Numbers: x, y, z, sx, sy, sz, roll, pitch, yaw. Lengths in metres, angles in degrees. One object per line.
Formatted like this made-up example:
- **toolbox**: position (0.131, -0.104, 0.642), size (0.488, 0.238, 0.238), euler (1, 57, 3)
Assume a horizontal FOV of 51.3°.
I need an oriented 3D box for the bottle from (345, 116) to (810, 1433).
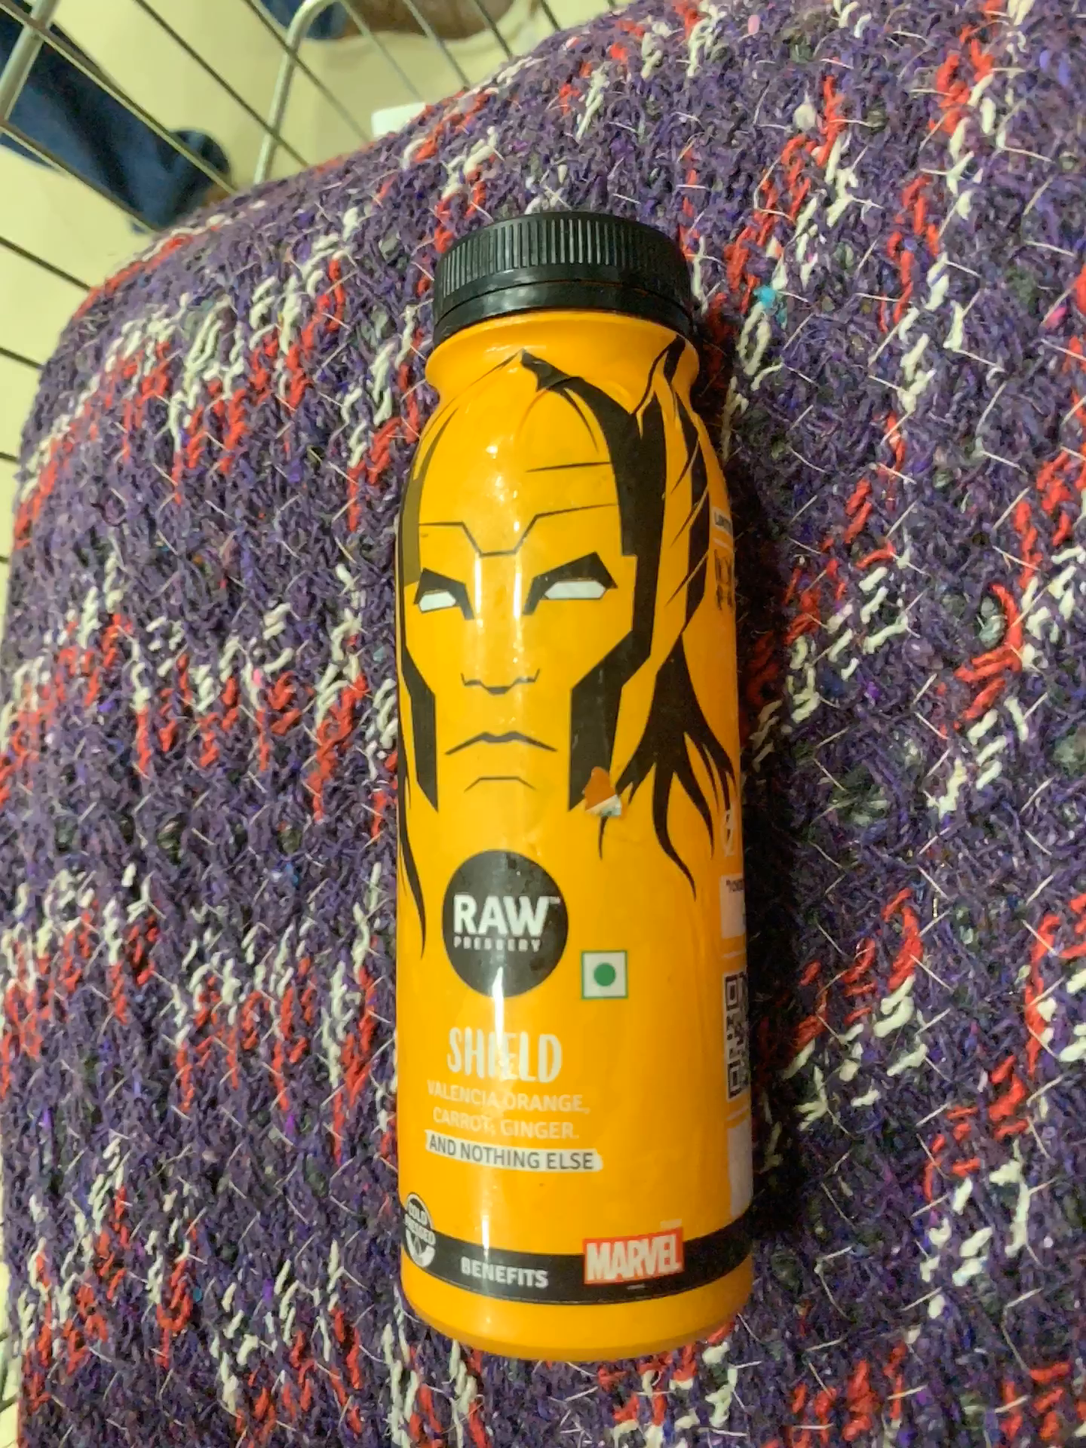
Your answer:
- **bottle**: position (0.008, 0.005, 0.171), size (0.050, 0.050, 0.160), euler (-2, 84, 29)
